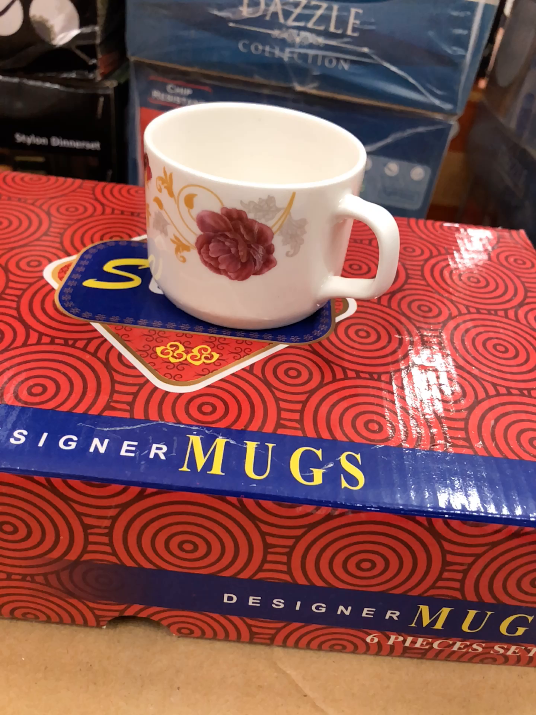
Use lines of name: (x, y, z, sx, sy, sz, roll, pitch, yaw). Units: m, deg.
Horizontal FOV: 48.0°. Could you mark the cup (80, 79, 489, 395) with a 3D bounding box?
cup: (0.004, -0.049, 0.201, 0.100, 0.050, 0.081, 29, 41, 24)
